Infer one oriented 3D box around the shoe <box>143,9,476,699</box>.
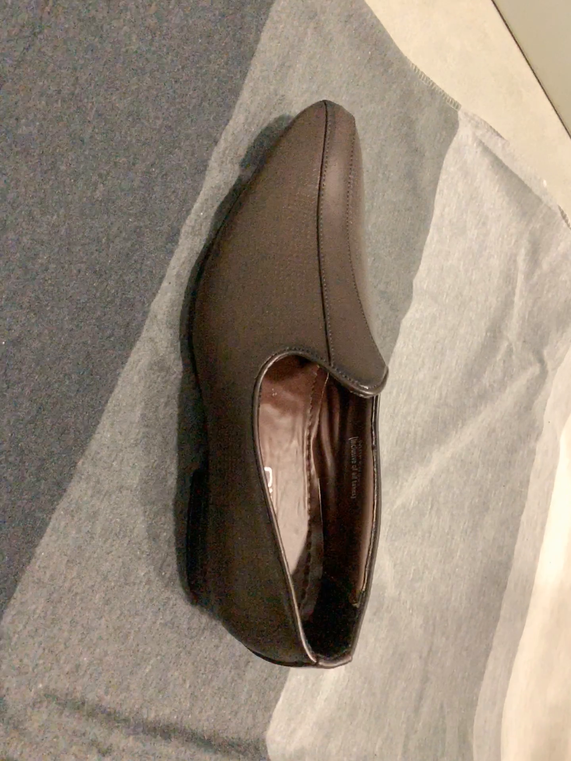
[{"bbox_3d":[0.011,-0.009,0.295,0.100,0.100,0.270,10,83,-32],"label":"shoe"}]
